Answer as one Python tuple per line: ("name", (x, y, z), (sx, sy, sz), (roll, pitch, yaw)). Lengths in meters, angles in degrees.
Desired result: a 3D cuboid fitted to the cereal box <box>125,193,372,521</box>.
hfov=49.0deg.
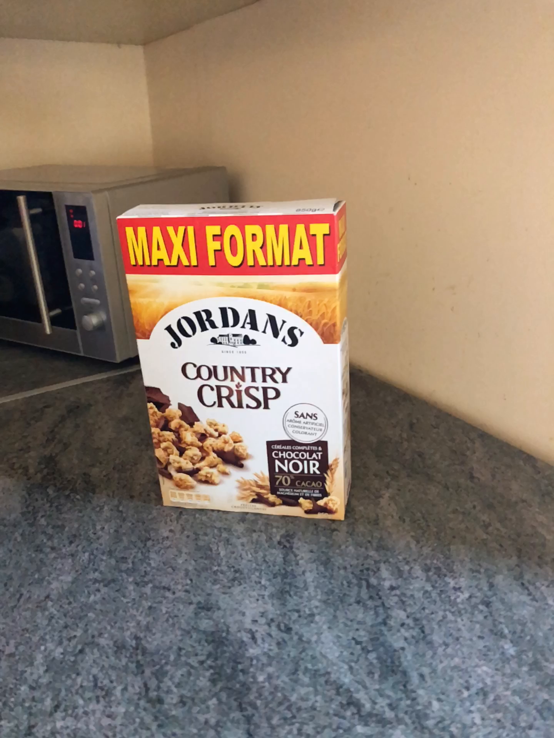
("cereal box", (-0.014, -0.006, 0.584), (0.200, 0.298, 0.070), (1, 24, 13))
